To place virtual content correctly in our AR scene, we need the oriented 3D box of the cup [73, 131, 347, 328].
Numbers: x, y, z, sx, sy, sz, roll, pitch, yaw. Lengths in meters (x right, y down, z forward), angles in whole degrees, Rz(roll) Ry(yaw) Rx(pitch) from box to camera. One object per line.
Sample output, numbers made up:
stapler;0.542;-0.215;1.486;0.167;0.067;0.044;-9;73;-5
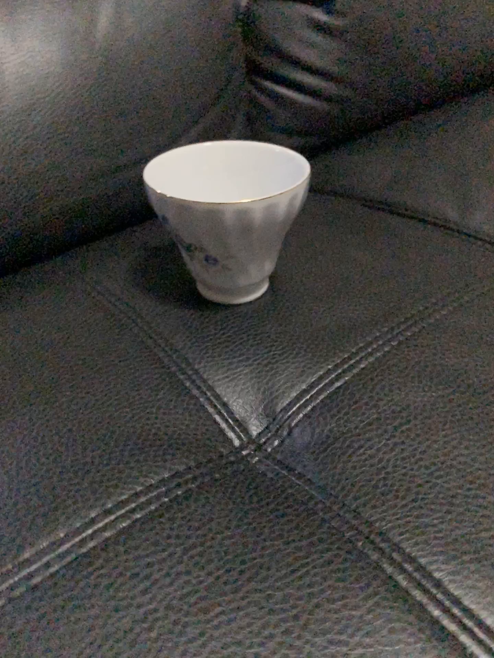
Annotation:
cup;-0.018;-0.065;0.292;0.114;0.059;0.094;21;40;28
